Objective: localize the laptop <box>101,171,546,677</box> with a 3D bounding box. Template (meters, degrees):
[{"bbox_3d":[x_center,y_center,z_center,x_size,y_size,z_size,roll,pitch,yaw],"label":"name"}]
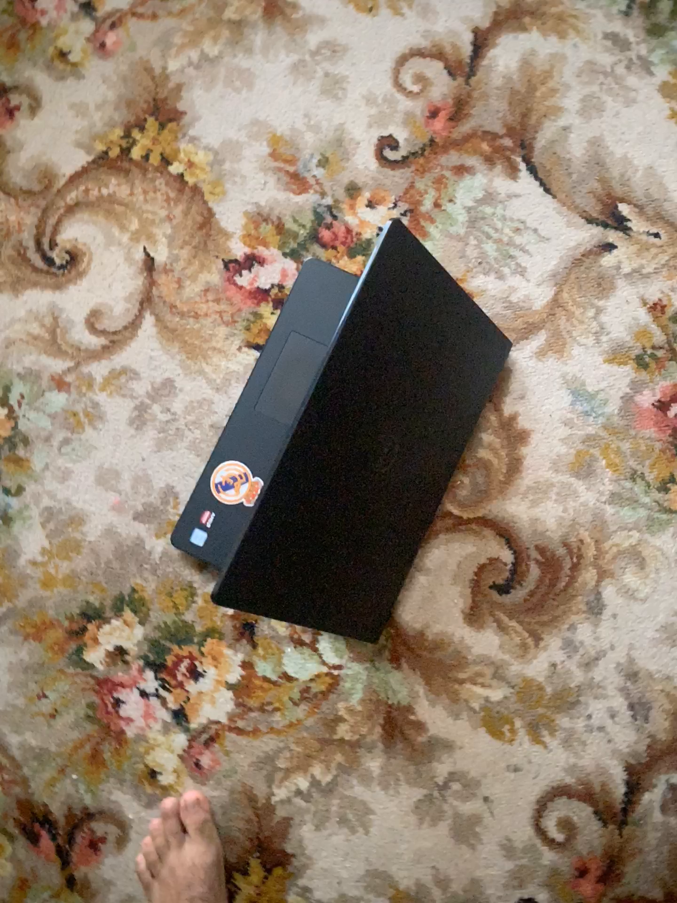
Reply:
[{"bbox_3d":[-0.006,-0.021,0.687,0.251,0.194,0.367,24,86,5],"label":"laptop"}]
